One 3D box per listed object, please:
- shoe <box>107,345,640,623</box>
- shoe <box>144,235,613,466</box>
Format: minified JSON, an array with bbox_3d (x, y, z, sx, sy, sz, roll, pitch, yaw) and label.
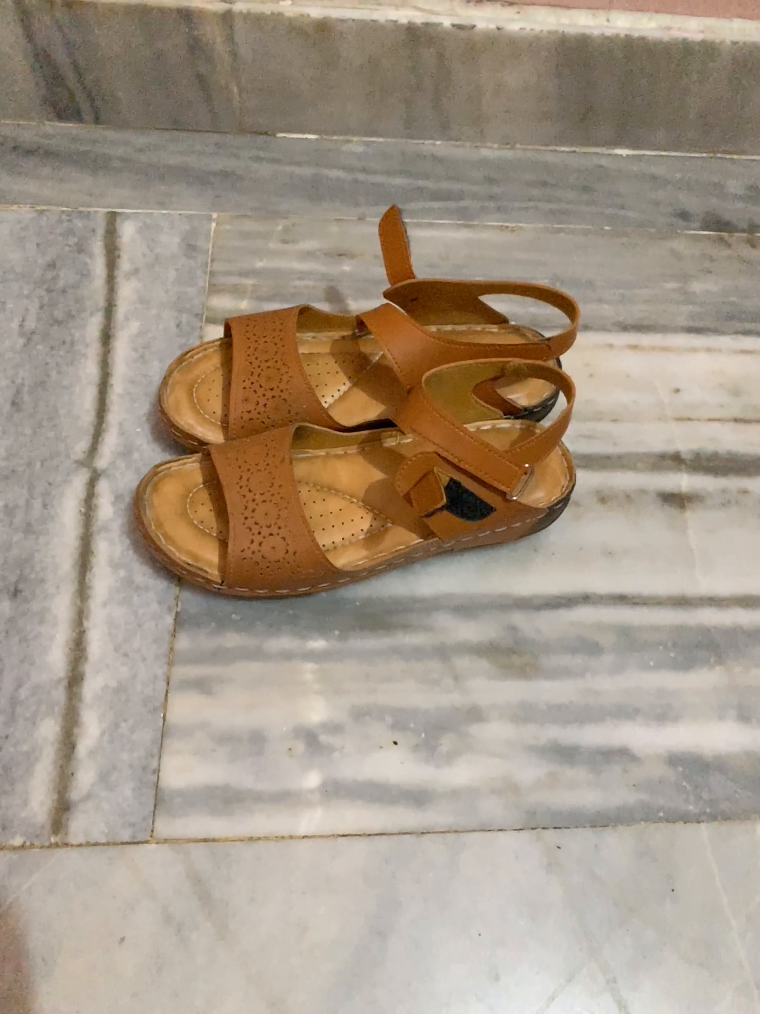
[{"bbox_3d":[-0.008,-0.013,0.433,0.256,0.100,0.090,-6,61,-9],"label":"shoe"},{"bbox_3d":[-0.005,-0.095,0.477,0.250,0.100,0.090,-3,60,-7],"label":"shoe"}]
